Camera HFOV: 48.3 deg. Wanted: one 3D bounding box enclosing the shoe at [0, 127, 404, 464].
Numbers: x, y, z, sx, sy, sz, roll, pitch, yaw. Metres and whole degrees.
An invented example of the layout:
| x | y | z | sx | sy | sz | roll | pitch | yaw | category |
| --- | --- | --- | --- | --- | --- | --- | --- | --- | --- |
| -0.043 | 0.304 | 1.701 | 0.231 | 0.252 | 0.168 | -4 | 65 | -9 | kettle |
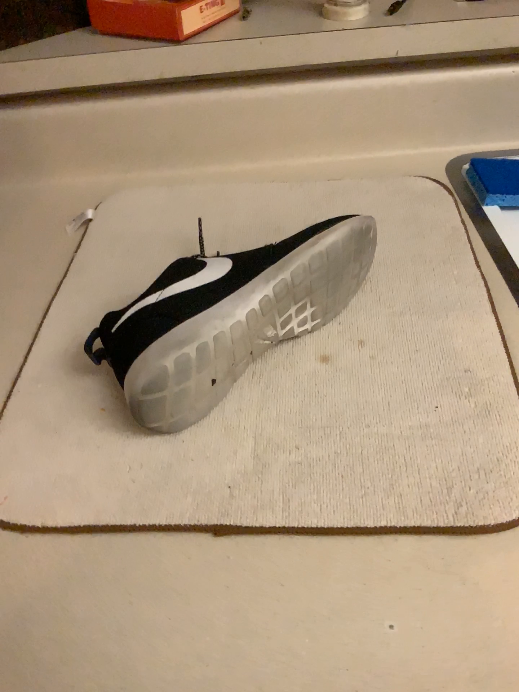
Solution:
| x | y | z | sx | sy | sz | roll | pitch | yaw | category |
| --- | --- | --- | --- | --- | --- | --- | --- | --- | --- |
| -0.039 | -0.064 | 0.492 | 0.270 | 0.100 | 0.180 | -36 | 53 | -27 | shoe |
